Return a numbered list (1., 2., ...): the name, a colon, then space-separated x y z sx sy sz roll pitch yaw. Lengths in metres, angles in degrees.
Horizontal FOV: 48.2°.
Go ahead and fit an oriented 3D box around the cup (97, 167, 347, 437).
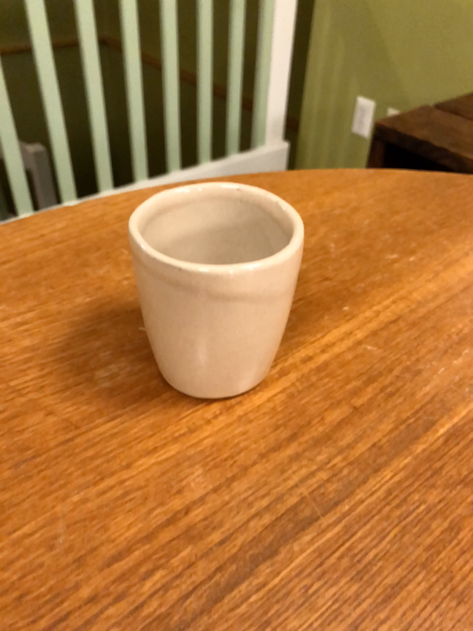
1. cup: -0.009 -0.012 0.275 0.083 0.086 0.084 2 39 -2
